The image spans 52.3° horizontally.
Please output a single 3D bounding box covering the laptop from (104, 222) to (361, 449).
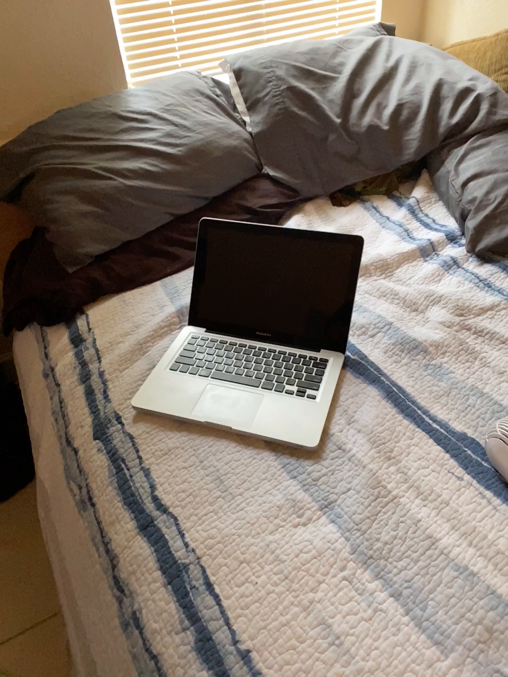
[{"bbox_3d":[-0.009,-0.032,0.890,0.319,0.169,0.348,10,40,17],"label":"laptop"}]
